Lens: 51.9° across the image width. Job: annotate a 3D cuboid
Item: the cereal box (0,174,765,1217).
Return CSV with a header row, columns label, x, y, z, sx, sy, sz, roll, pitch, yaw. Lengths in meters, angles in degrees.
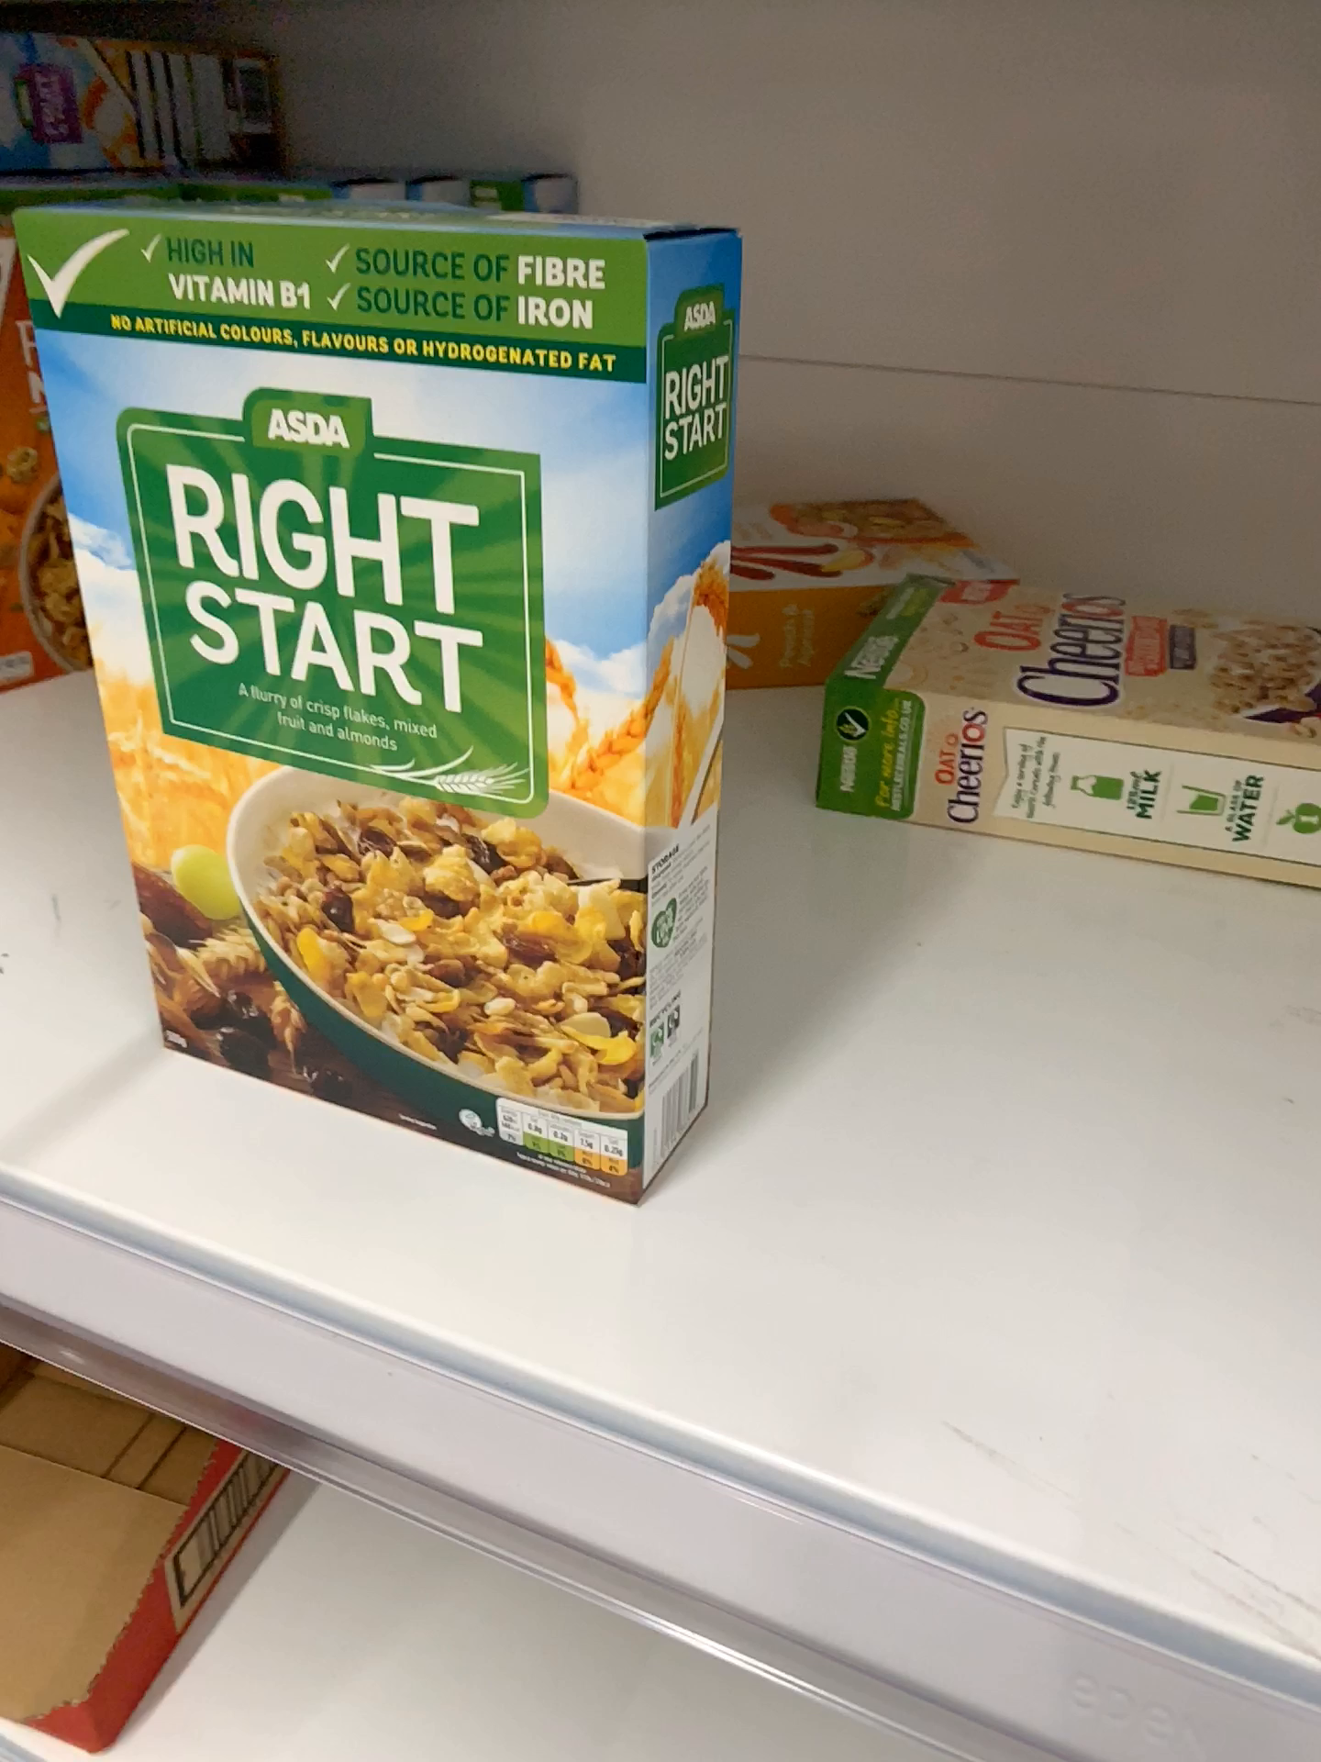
label,x,y,z,sx,sy,sz,roll,pitch,yaw
cereal box,-0.081,-0.055,0.403,0.200,0.267,0.071,13,31,22
